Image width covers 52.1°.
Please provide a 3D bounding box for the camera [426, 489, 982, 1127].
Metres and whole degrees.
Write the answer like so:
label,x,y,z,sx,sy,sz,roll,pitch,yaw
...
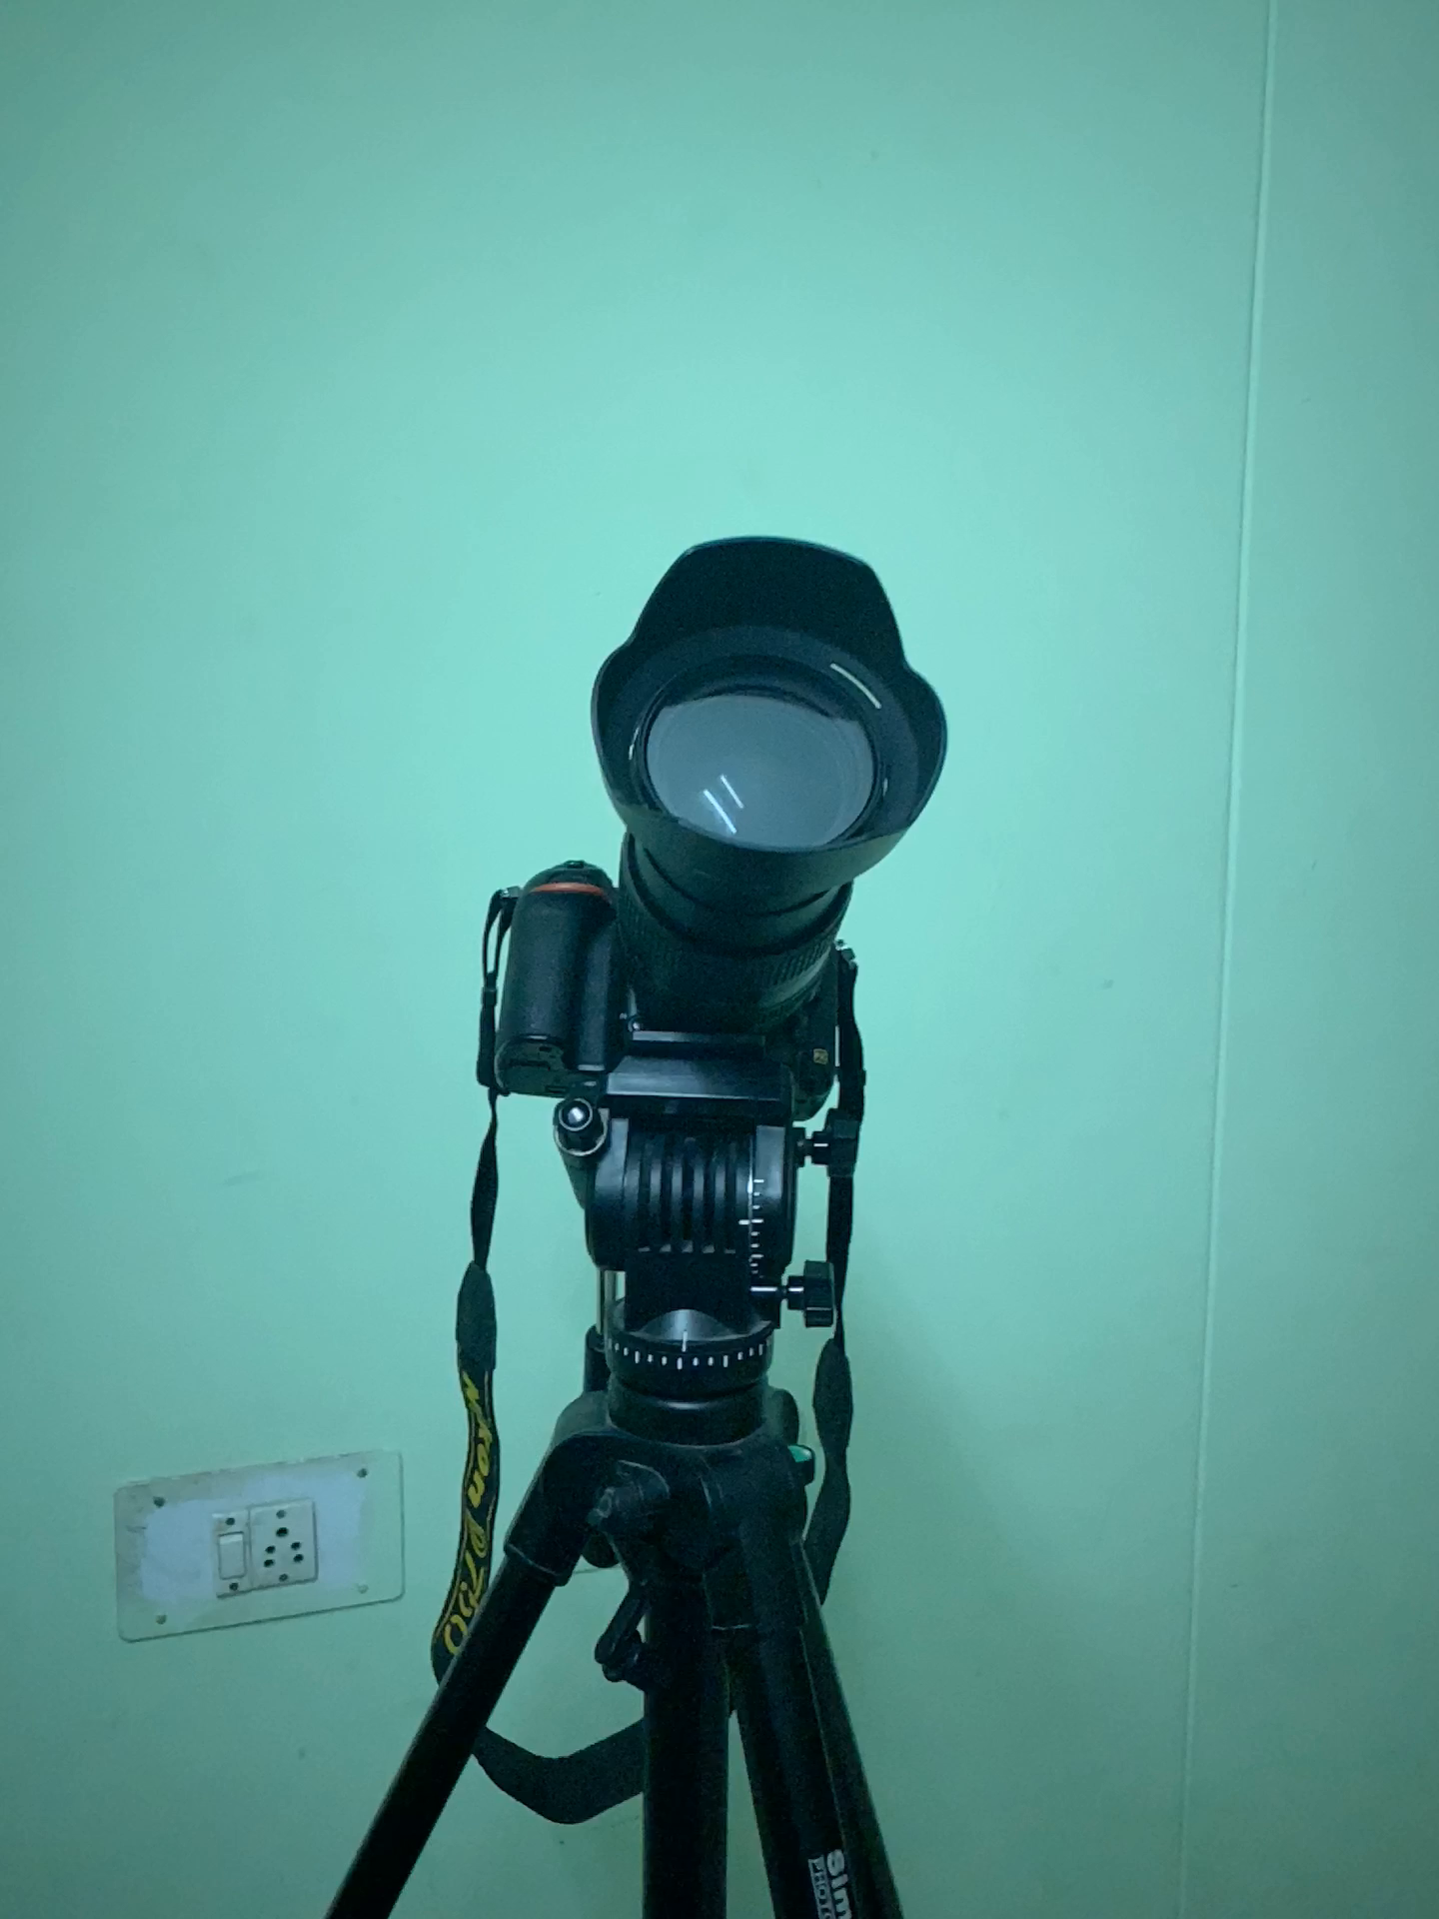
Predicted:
label,x,y,z,sx,sy,sz,roll,pitch,yaw
camera,-0.011,-0.035,0.538,0.151,0.121,0.247,3,-23,-4
